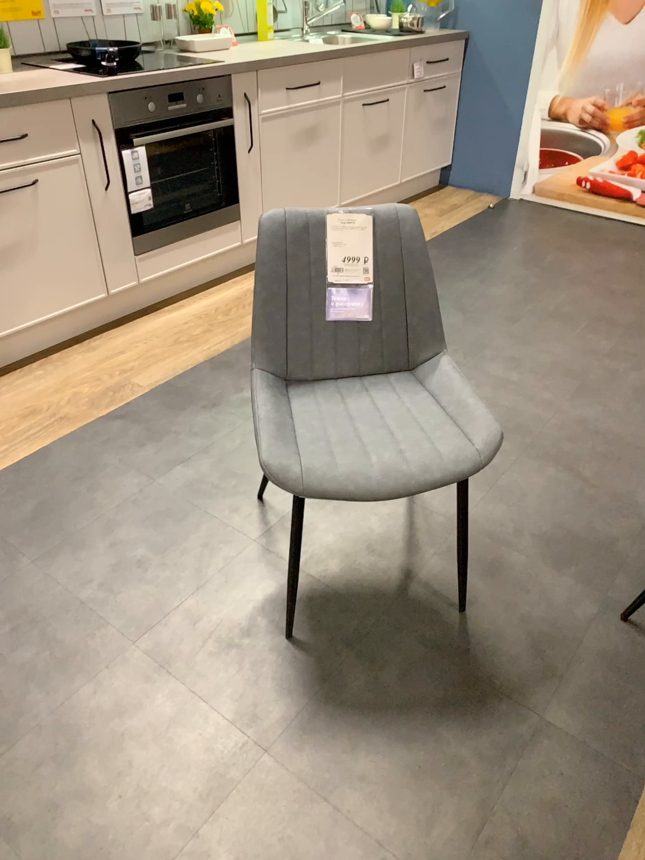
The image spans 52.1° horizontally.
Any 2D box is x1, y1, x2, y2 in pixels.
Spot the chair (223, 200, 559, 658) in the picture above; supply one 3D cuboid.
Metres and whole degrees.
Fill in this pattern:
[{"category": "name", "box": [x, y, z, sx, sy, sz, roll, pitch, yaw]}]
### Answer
[{"category": "chair", "box": [0.082, -0.014, 1.542, 0.523, 0.833, 0.592, -6, 36, -9]}]
